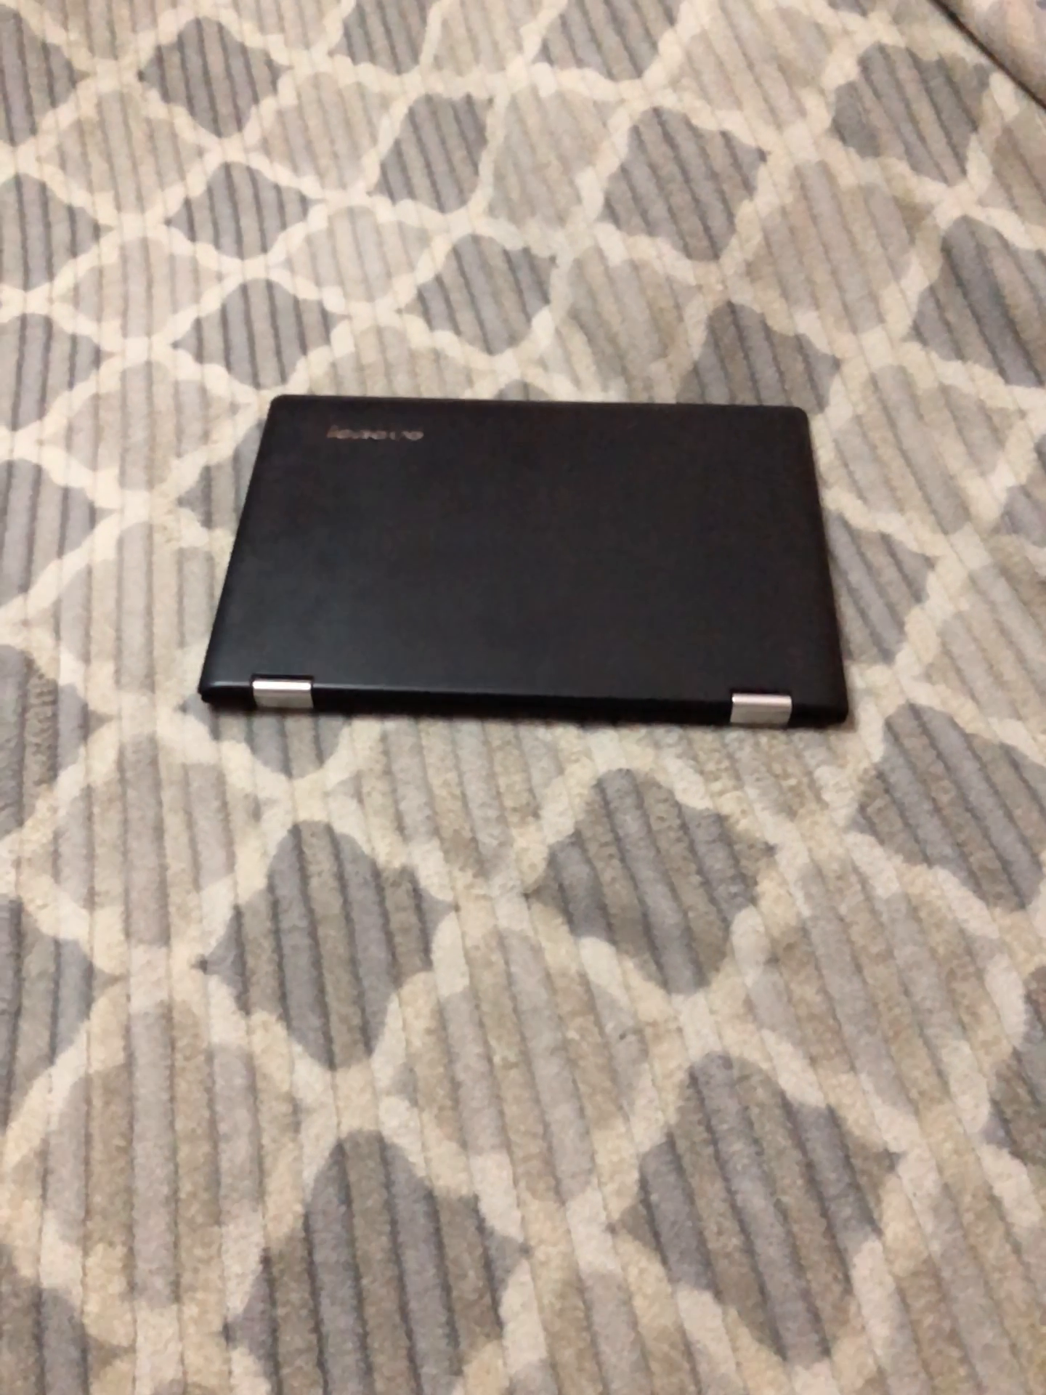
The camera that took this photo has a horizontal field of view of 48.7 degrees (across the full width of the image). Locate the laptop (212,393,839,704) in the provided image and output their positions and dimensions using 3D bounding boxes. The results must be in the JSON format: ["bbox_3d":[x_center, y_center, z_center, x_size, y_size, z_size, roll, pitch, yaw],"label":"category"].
[{"bbox_3d":[0.006,-0.098,0.692,0.339,0.005,0.231,2,56,1],"label":"laptop"}]
